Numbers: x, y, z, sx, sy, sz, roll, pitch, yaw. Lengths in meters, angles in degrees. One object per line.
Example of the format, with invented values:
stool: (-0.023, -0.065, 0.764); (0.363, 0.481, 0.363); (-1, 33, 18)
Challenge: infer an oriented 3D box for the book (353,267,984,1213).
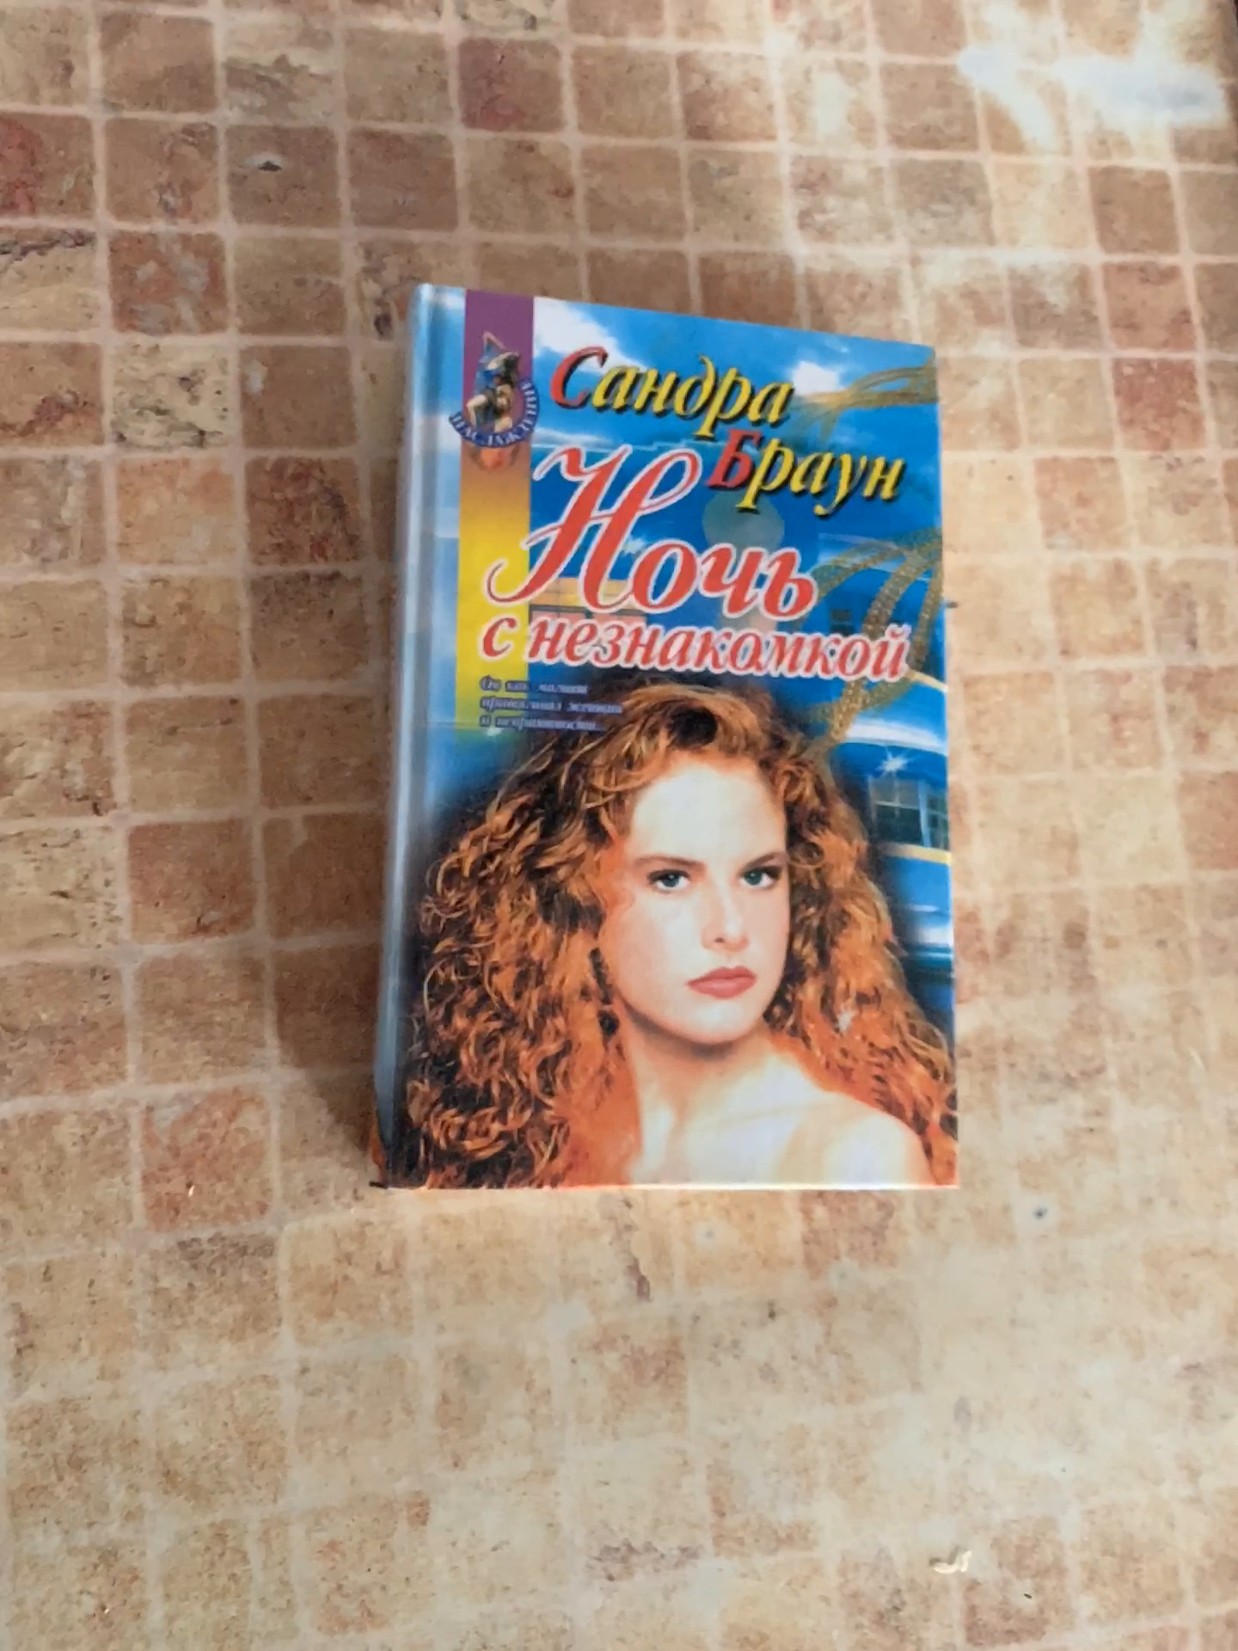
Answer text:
book: (0.012, -0.019, 0.288); (0.130, 0.029, 0.198); (2, 81, -11)
